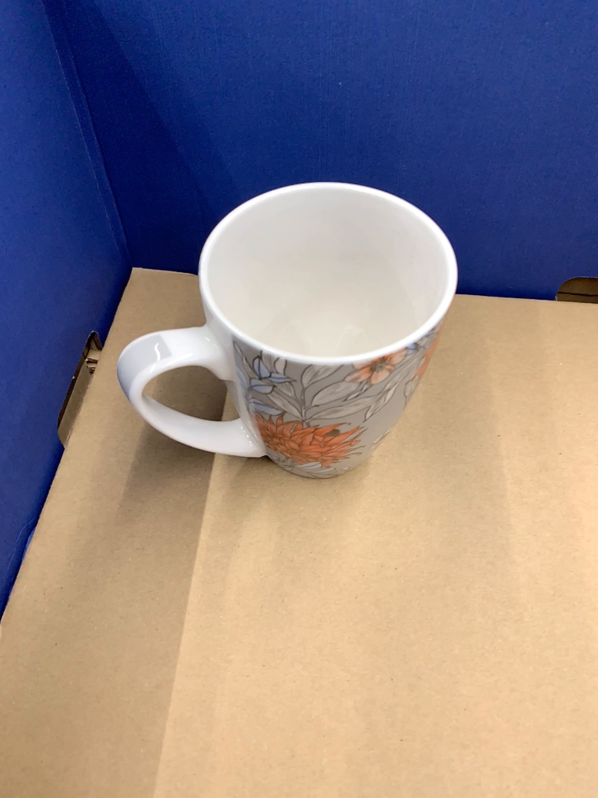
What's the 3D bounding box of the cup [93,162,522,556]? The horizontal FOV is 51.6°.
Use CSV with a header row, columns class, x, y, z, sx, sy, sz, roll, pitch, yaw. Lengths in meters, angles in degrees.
class,x,y,z,sx,sy,sz,roll,pitch,yaw
cup,-0.002,-0.017,0.236,0.117,0.085,0.092,-15,53,-10
